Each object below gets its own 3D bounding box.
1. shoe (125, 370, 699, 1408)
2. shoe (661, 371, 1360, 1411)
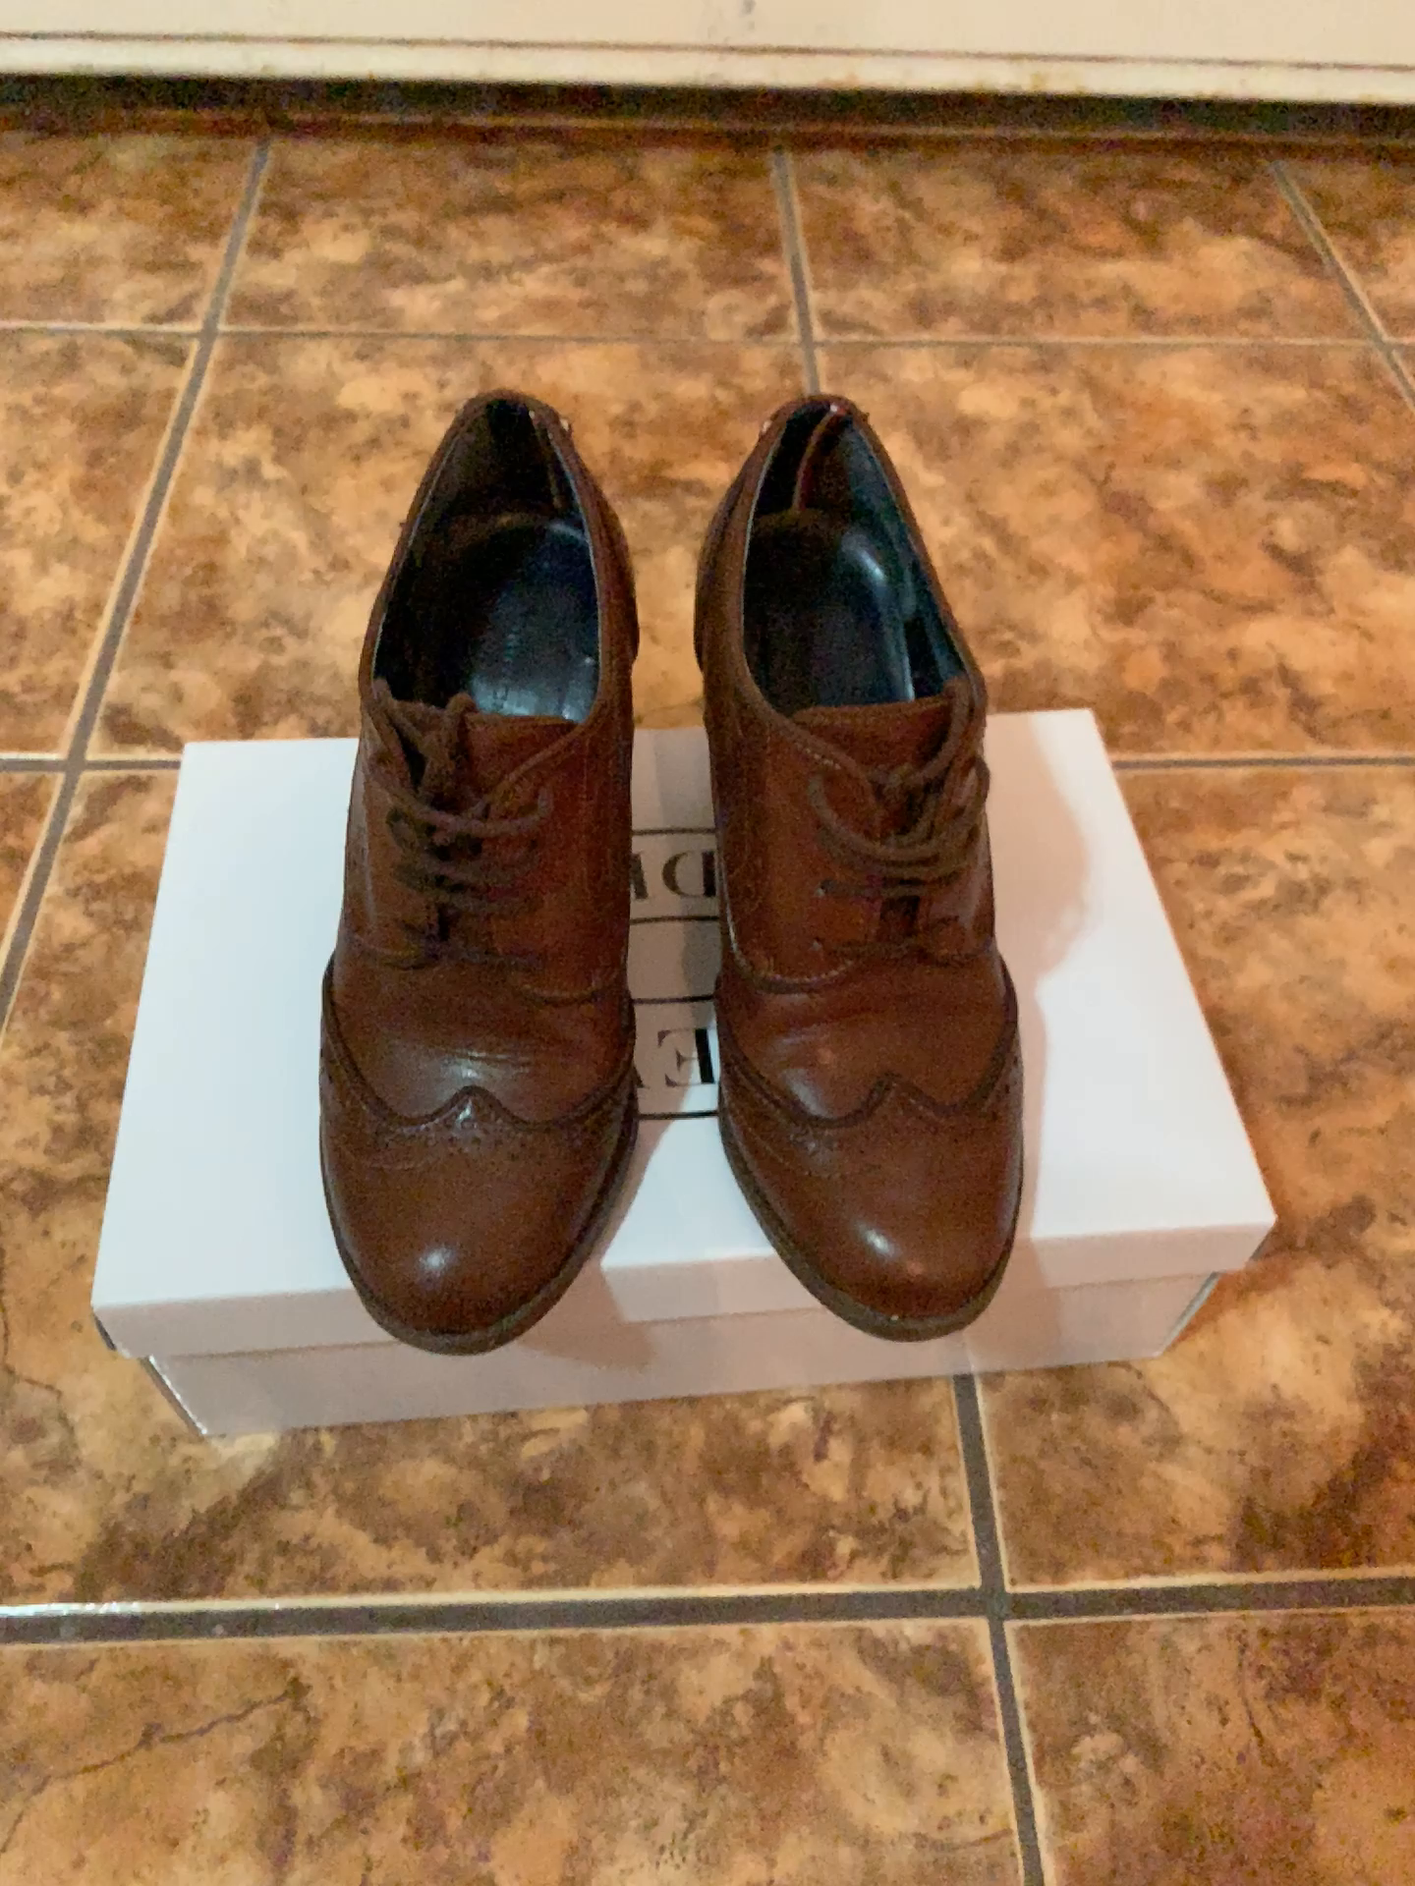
[{"bbox_3d":[-0.053,-0.020,0.369,0.095,0.137,0.229,1,51,-2],"label":"shoe"},{"bbox_3d":[0.050,-0.022,0.375,0.095,0.137,0.229,-5,51,-7],"label":"shoe"}]
